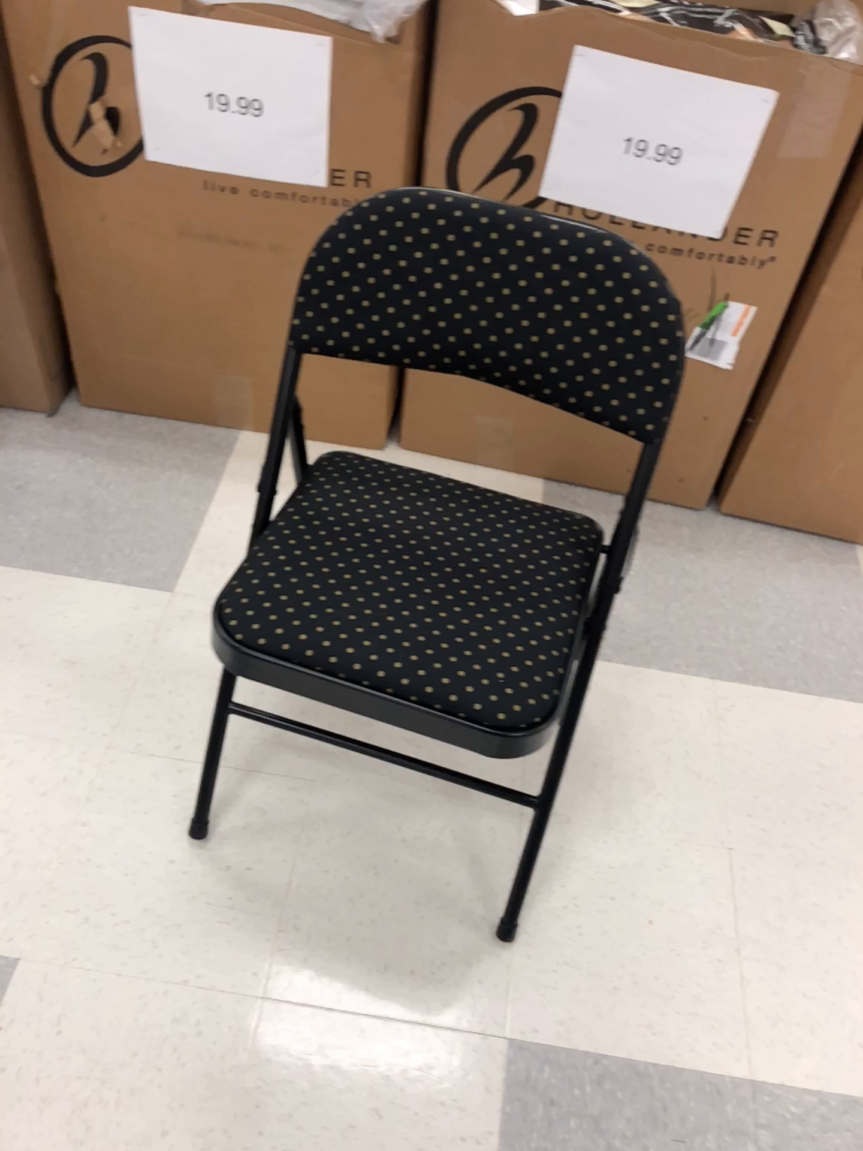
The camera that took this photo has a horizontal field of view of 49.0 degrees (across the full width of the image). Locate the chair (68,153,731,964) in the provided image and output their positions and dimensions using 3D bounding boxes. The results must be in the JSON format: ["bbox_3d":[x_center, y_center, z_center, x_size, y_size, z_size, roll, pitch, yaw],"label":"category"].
[{"bbox_3d":[-0.010,0.004,1.160,0.484,0.729,0.542,15,48,7],"label":"chair"}]
